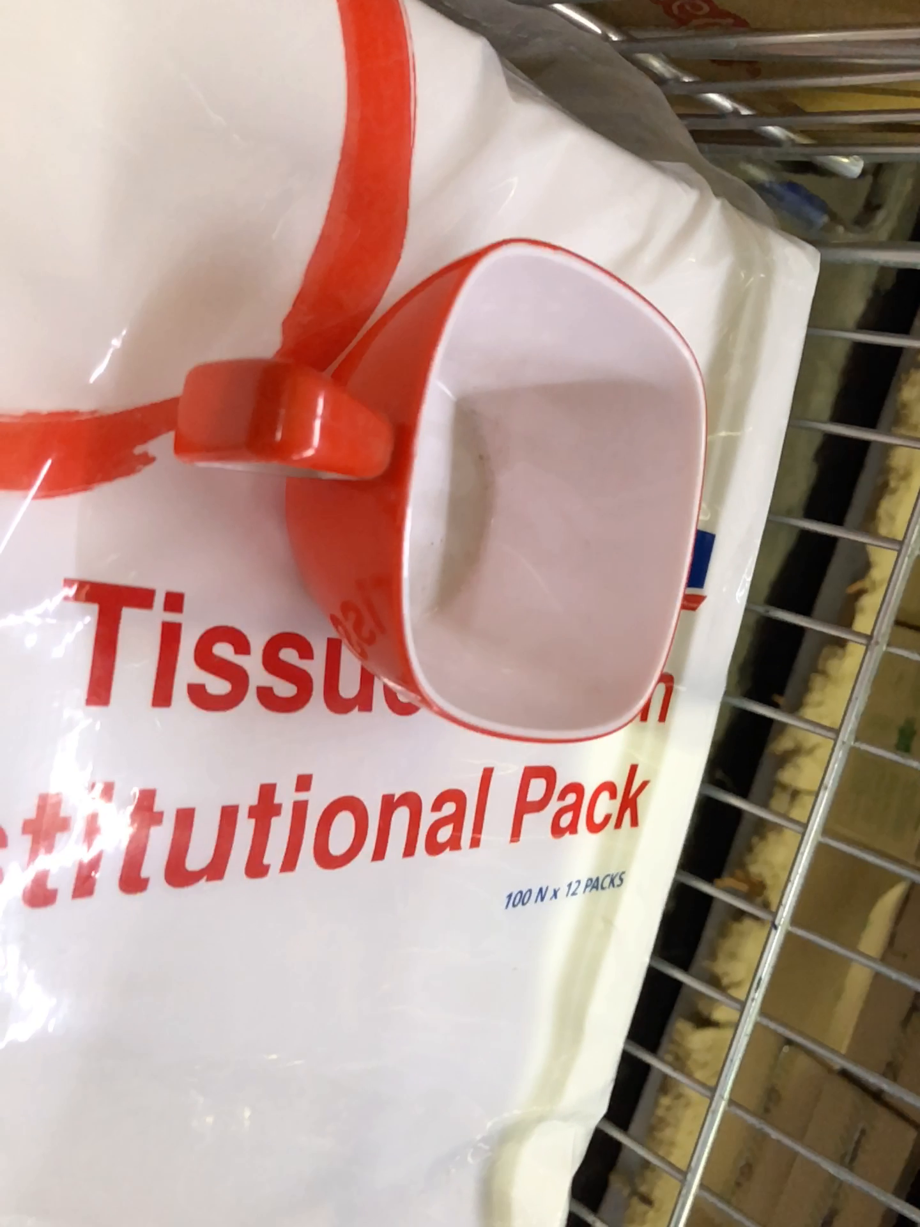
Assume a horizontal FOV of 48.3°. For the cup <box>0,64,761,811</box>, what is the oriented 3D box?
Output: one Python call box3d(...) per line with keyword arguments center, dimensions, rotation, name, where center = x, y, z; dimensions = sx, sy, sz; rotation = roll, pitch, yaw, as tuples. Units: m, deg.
box3d(center=(-0.009, -0.023, 0.186), dimensions=(0.120, 0.060, 0.090), rotation=(8, 101, -53), name="cup")
